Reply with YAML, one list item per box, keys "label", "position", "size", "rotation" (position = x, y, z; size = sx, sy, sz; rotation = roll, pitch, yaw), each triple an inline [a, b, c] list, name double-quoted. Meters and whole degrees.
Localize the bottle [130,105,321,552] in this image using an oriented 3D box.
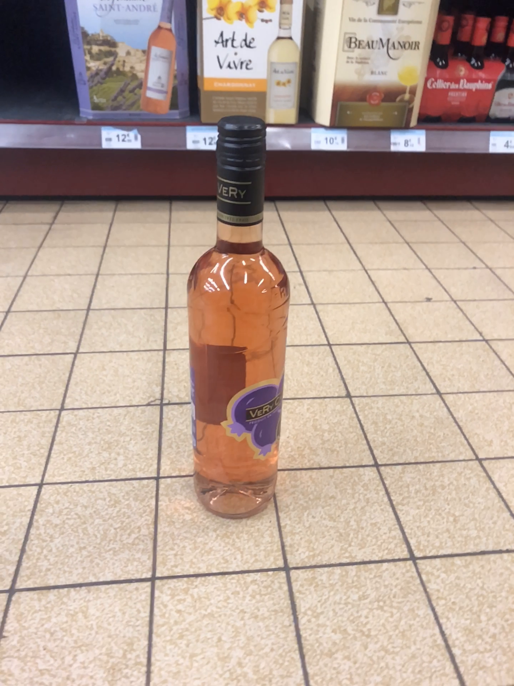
- label: "bottle"
  position: [-0.020, 0.004, 0.396]
  size: [0.080, 0.298, 0.081]
  rotation: [2, 32, -1]
